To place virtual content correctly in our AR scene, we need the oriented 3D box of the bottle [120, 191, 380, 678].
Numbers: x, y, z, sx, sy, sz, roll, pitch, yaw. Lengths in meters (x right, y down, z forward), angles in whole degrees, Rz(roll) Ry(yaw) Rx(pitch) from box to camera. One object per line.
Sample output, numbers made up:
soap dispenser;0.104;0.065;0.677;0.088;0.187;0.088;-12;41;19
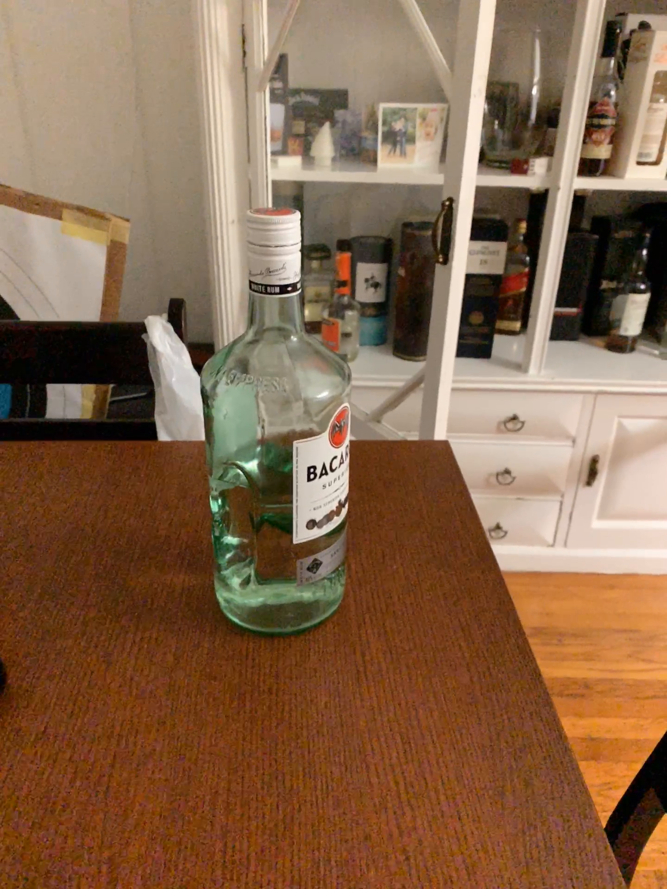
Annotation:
bottle;-0.053;-0.005;0.521;0.120;0.328;0.120;1;28;0
